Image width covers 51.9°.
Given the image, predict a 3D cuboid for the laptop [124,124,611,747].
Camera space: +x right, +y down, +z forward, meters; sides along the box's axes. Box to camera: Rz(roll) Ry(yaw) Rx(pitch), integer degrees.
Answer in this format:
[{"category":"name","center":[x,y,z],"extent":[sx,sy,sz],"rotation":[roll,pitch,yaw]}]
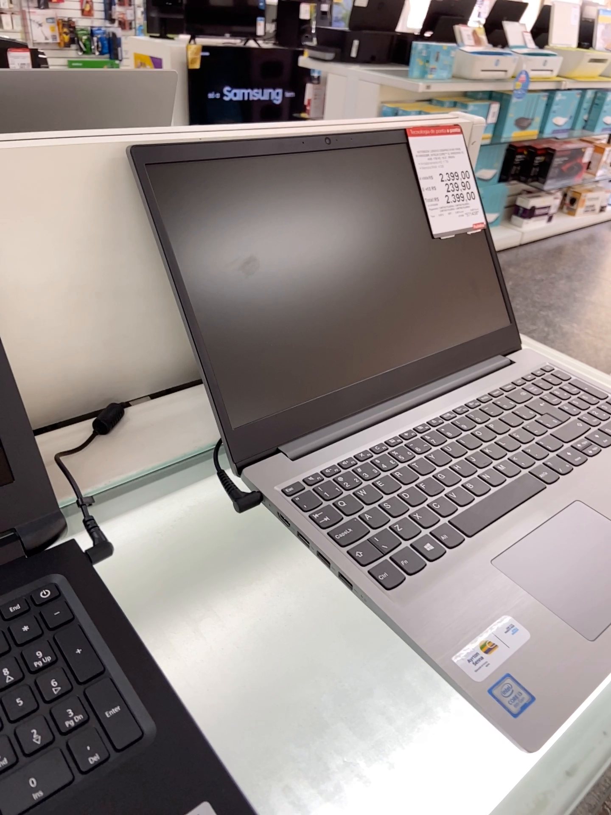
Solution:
[{"category":"laptop","center":[0.132,-0.066,0.484],"extent":[0.371,0.192,0.403],"rotation":[-20,42,-35]}]
